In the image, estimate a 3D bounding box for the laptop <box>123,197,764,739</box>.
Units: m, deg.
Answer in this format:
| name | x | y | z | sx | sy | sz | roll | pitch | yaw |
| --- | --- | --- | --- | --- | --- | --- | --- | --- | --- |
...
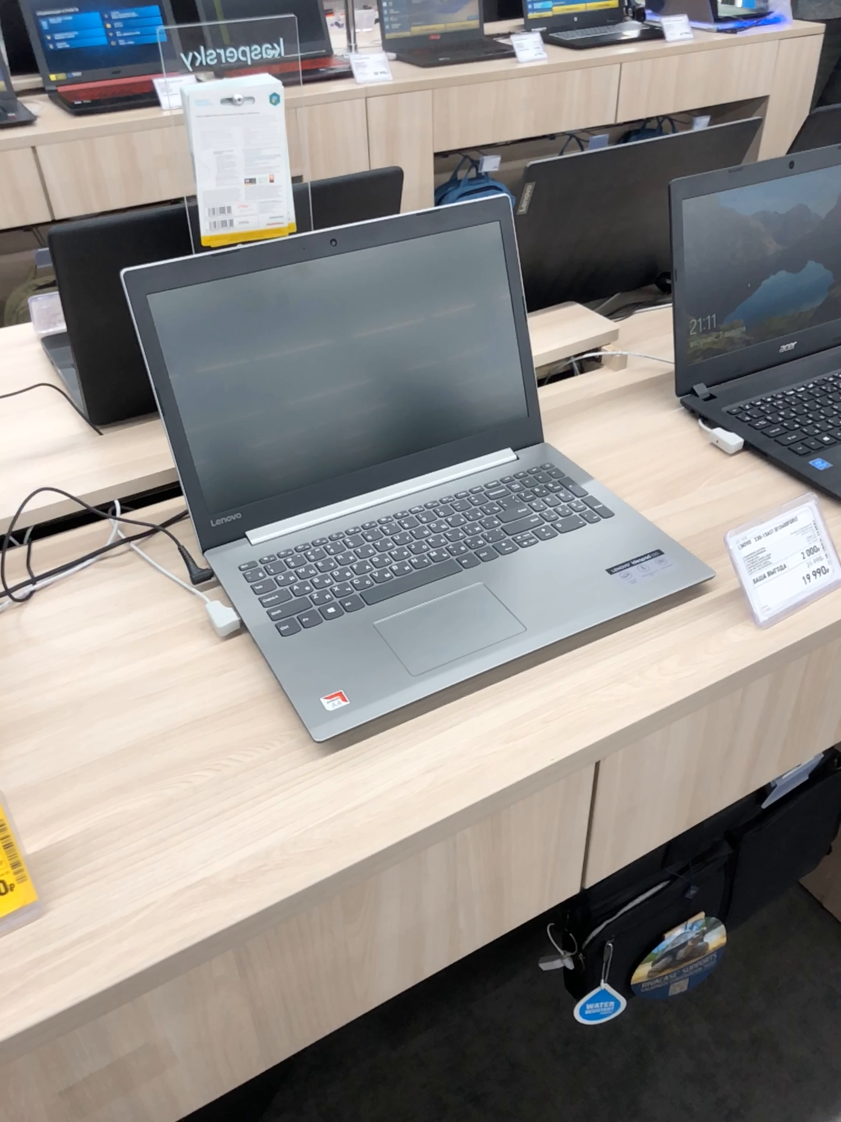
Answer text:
| name | x | y | z | sx | sy | sz | roll | pitch | yaw |
| --- | --- | --- | --- | --- | --- | --- | --- | --- | --- |
| laptop | 0.005 | -0.116 | 0.791 | 0.380 | 0.235 | 0.344 | -20 | 41 | -22 |
